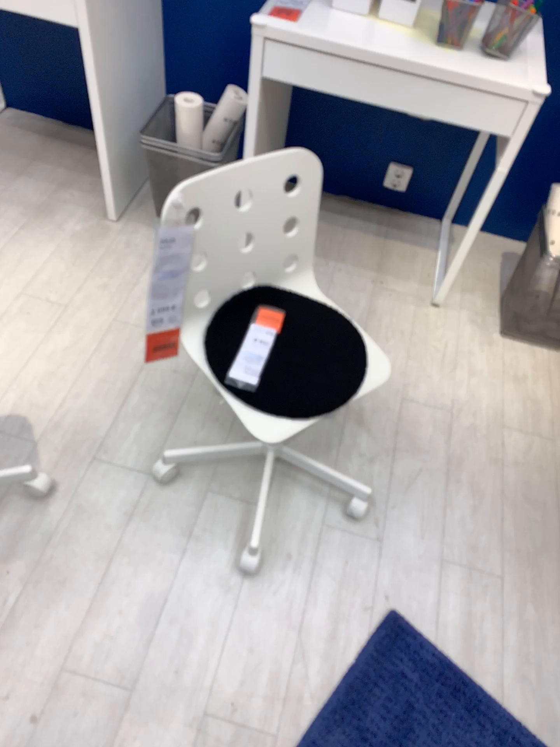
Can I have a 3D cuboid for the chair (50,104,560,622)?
[{"bbox_3d":[0.006,-0.008,1.204,0.602,0.737,0.591,-30,62,-27],"label":"chair"}]
